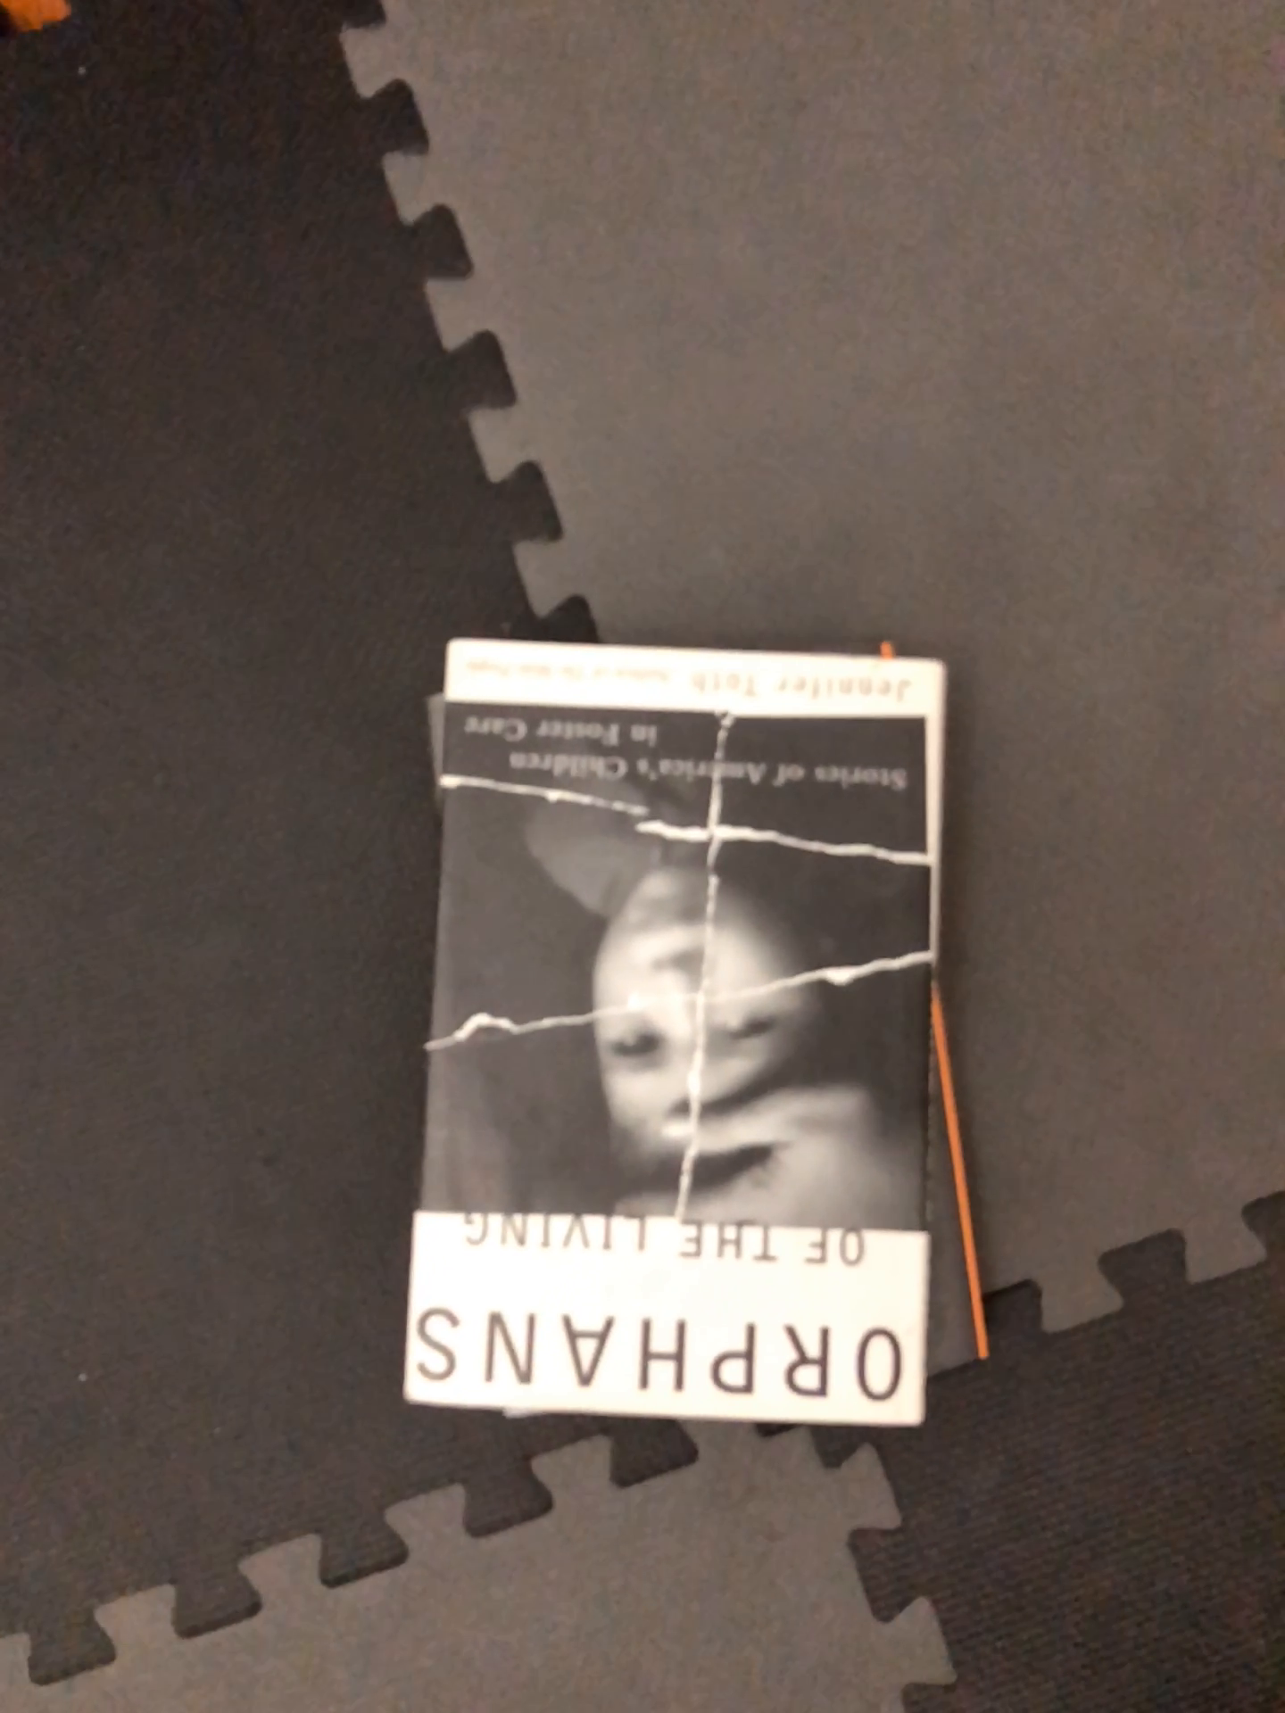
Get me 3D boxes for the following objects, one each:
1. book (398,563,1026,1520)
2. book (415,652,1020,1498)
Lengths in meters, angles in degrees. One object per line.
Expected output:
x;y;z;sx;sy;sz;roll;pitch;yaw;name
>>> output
0.024;0.052;0.449;0.180;0.030;0.280;2;84;2;book
0.022;0.068;0.477;0.160;0.030;0.250;-8;84;1;book
